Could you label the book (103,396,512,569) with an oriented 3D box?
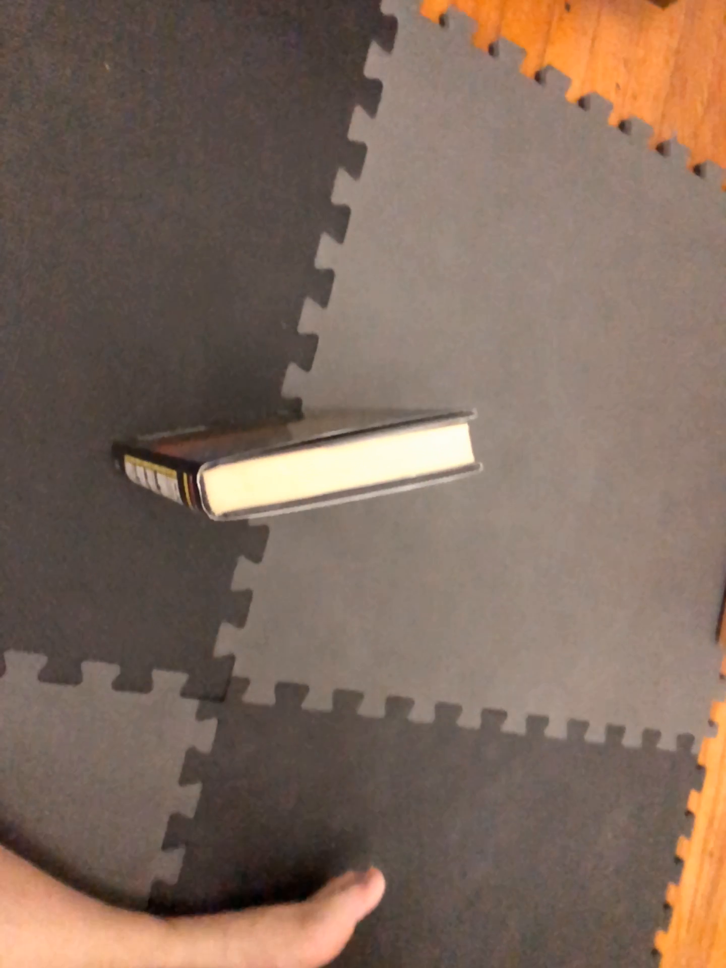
[{"bbox_3d":[-0.055,-0.017,0.532,0.180,0.259,0.050,-13,102,-24],"label":"book"}]
